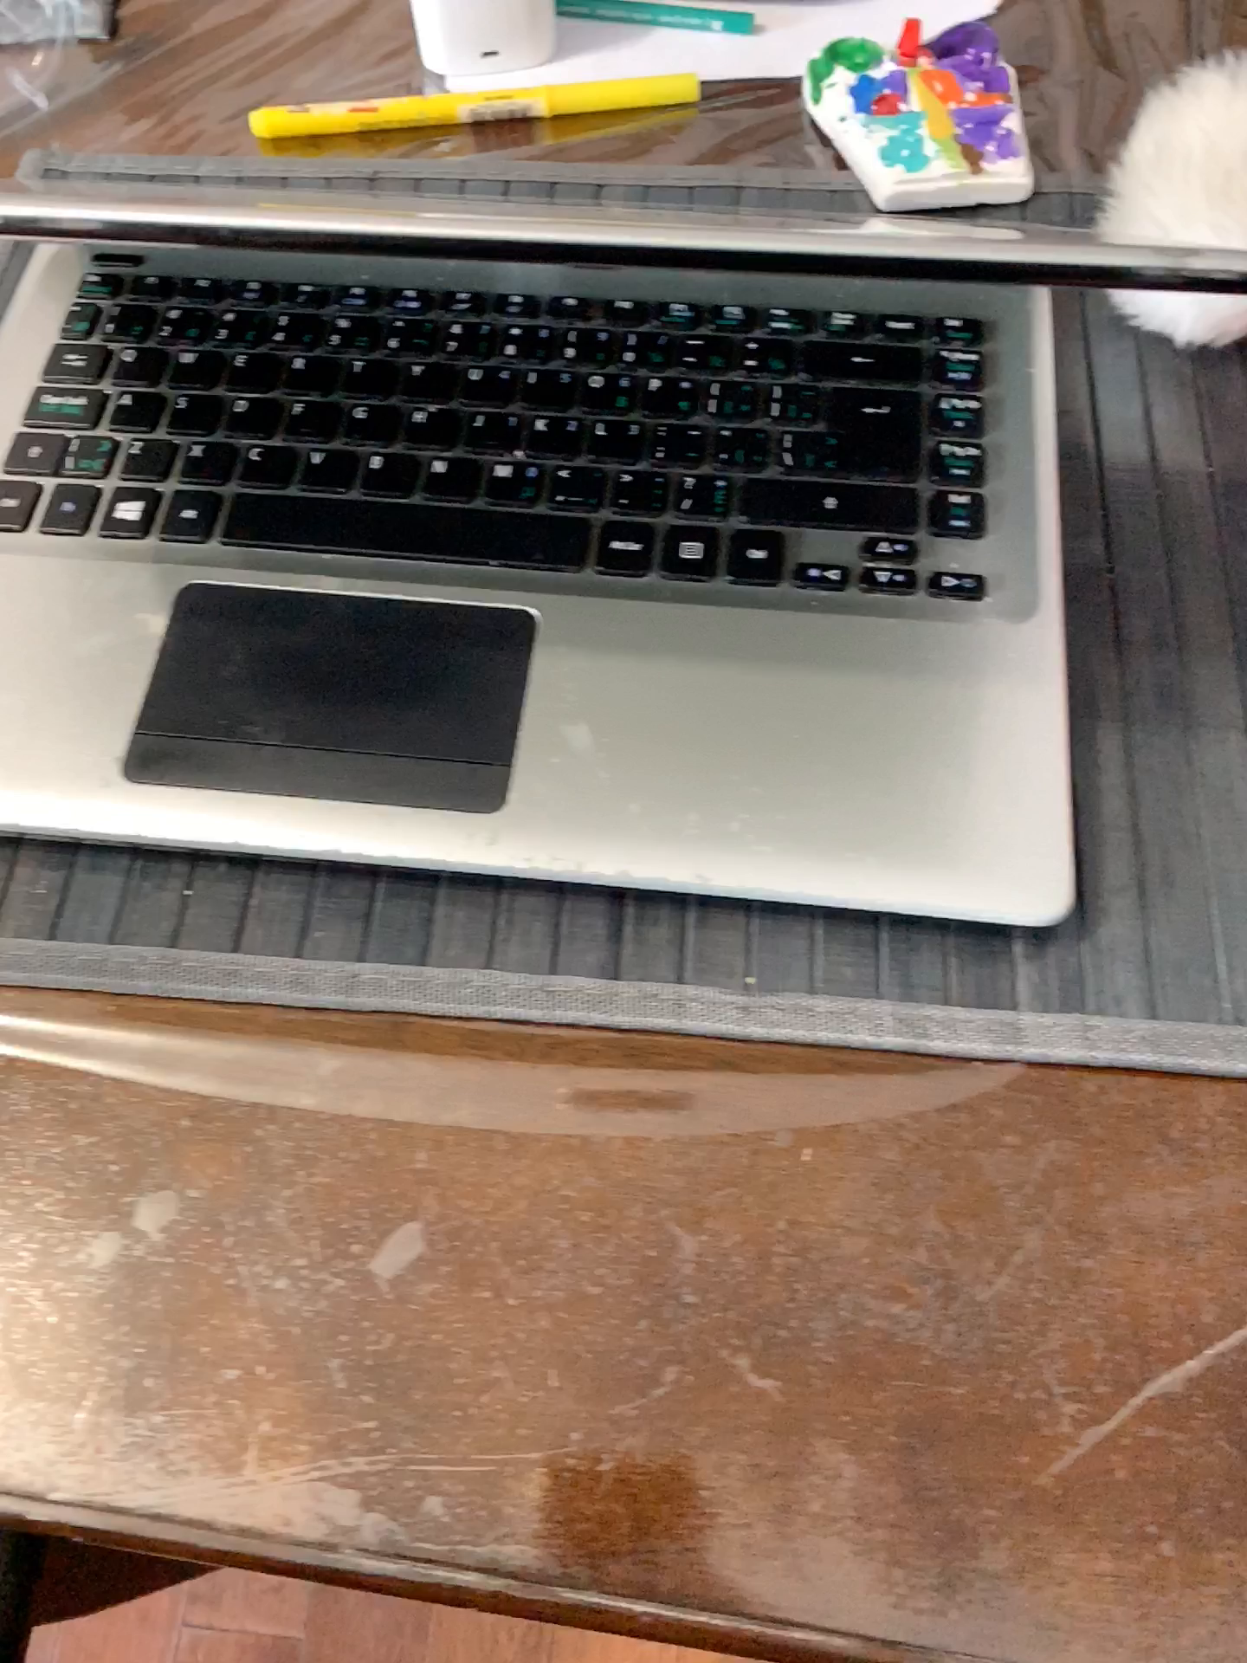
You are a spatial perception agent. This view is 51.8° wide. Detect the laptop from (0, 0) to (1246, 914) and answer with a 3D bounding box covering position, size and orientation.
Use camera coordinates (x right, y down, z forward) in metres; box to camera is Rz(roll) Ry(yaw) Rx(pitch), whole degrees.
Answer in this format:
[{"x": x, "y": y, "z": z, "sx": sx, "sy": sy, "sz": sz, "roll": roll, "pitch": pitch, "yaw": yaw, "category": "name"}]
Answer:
[{"x": -0.047, "y": -0.126, "z": 0.324, "sx": 0.343, "sy": 0.141, "sz": 0.225, "roll": 5, "pitch": 65, "yaw": 5, "category": "laptop"}]
